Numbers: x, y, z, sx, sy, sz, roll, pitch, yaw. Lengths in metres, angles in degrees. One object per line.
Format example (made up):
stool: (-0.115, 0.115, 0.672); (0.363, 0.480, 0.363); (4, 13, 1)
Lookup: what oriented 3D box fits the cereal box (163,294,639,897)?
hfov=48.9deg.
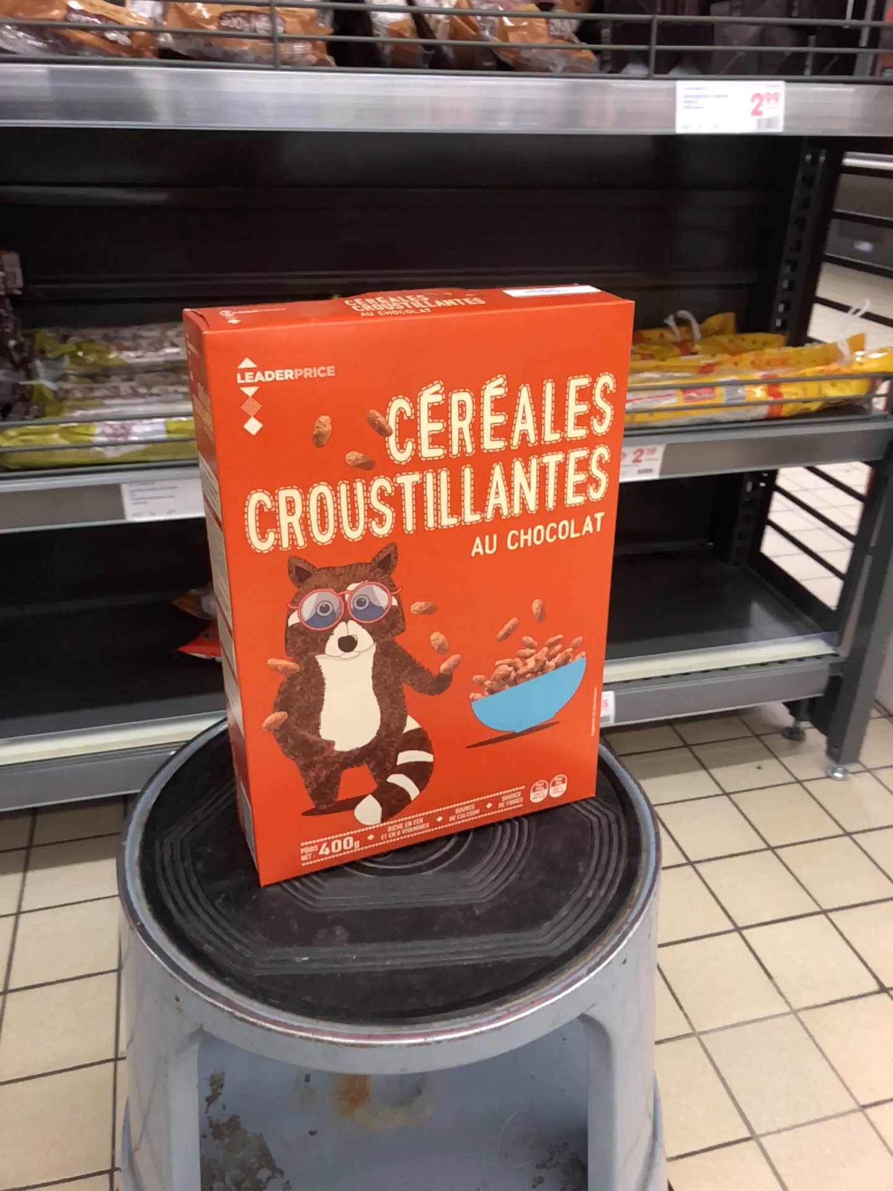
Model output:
cereal box: (-0.020, 0.000, 0.468); (0.190, 0.259, 0.060); (-9, 28, -20)
